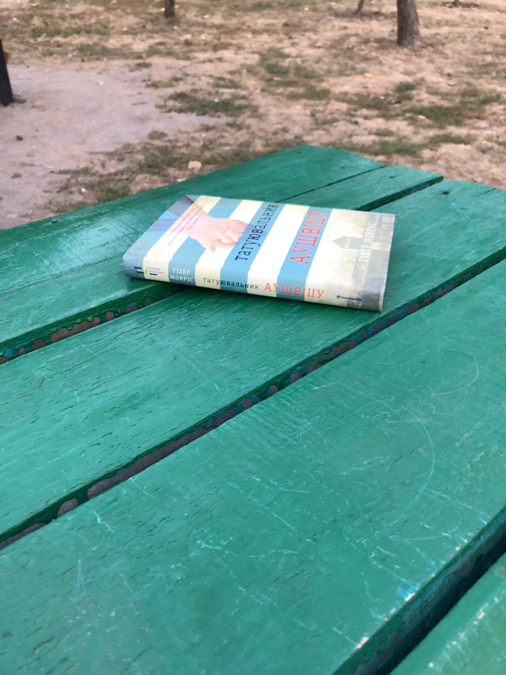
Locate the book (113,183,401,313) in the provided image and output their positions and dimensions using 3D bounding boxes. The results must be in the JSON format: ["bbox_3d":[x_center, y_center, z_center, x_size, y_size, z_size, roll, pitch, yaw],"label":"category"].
[{"bbox_3d":[0.014,-0.087,0.487,0.218,0.025,0.152,9,36,11],"label":"book"}]
